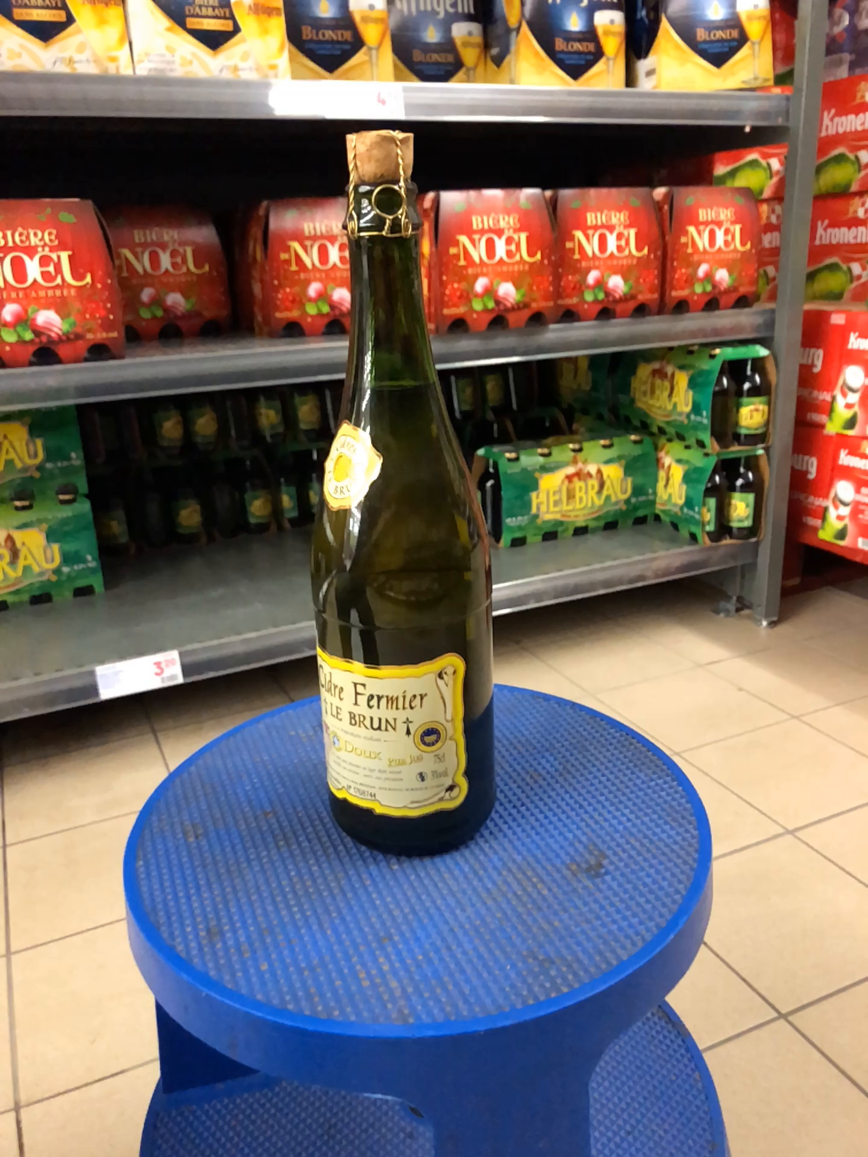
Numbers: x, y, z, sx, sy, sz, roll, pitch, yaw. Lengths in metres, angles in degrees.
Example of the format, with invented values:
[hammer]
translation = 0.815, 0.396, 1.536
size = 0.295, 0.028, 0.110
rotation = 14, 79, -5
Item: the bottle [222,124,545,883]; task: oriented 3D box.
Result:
[bottle]
translation = -0.012, -0.030, 0.426
size = 0.090, 0.299, 0.090
rotation = -2, 18, 1
